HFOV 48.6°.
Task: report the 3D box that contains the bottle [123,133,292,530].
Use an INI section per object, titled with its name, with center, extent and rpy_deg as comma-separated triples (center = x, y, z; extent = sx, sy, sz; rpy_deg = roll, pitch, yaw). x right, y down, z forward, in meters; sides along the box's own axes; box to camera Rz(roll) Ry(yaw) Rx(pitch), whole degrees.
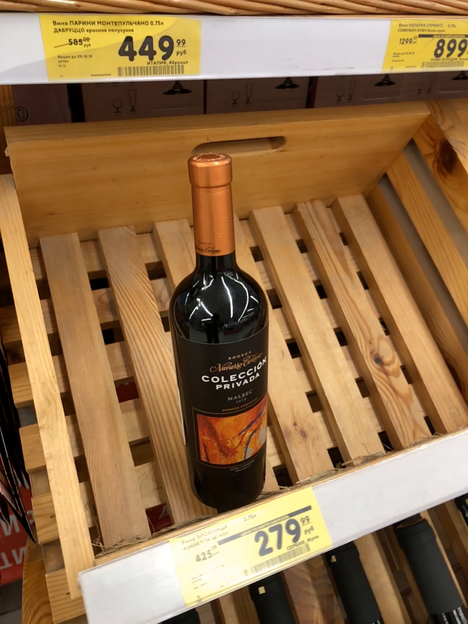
[bottle]
center = -0.014, 0.024, 0.399
extent = 0.086, 0.288, 0.080
rpy_deg = -2, 28, 1
